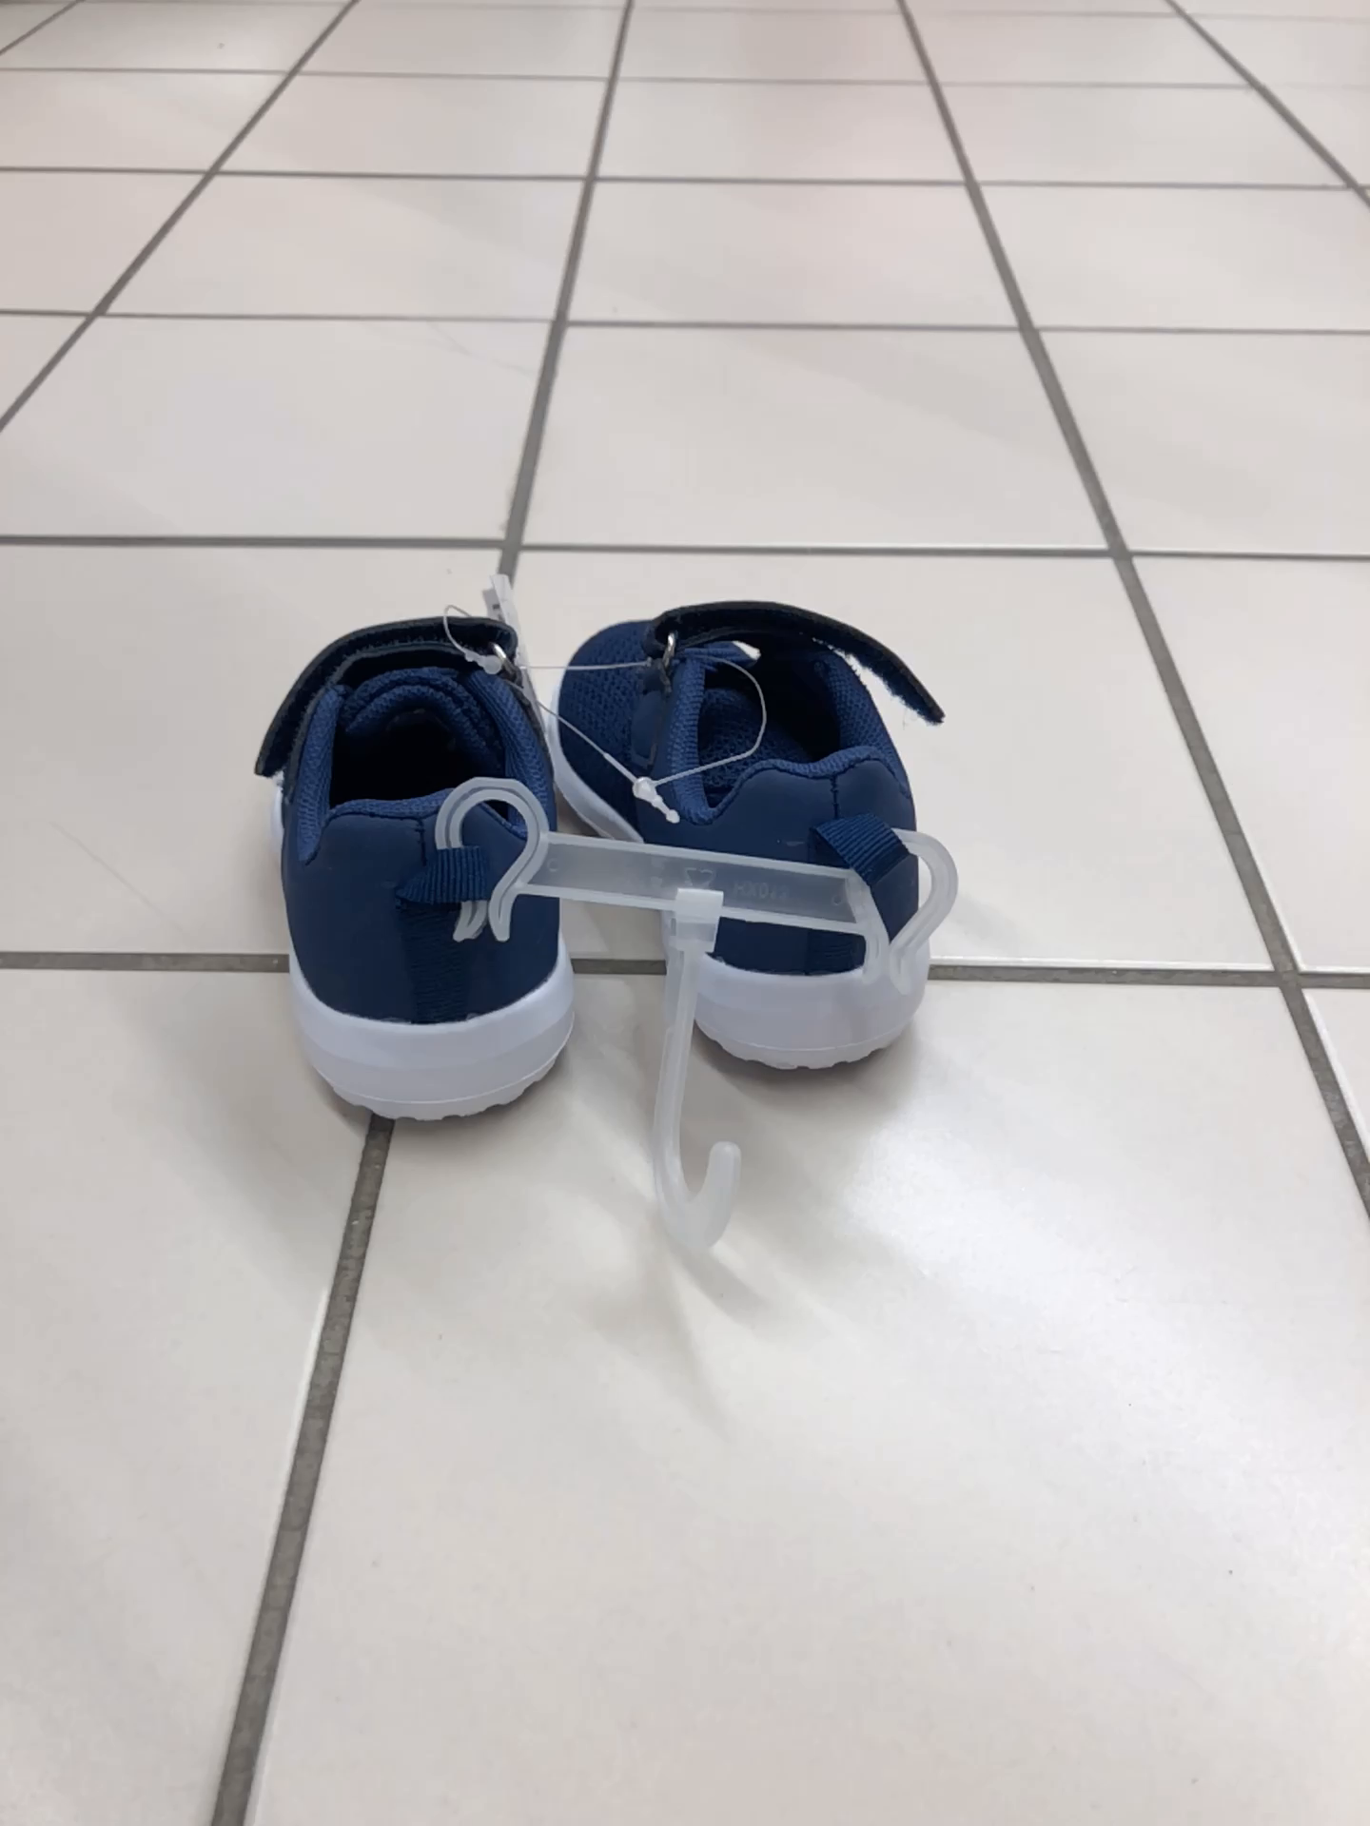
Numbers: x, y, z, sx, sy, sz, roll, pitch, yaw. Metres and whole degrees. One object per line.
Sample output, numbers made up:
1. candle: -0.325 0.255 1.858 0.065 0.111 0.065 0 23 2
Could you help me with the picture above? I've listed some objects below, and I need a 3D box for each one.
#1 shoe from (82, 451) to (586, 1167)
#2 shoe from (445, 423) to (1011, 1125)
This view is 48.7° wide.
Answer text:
1. shoe: -0.070 -0.033 0.340 0.081 0.073 0.160 -4 41 -5
2. shoe: 0.000 -0.042 0.353 0.075 0.076 0.158 -12 43 -14
